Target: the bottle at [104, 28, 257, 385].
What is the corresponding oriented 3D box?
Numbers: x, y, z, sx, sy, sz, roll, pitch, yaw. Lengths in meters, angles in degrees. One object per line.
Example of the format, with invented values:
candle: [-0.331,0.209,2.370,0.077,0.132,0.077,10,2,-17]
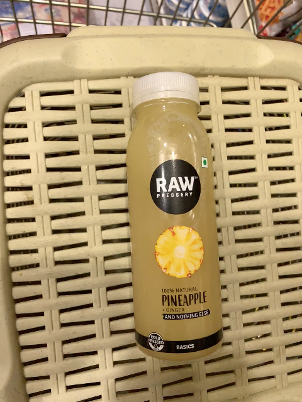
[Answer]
bottle: [0.010,0.000,0.171,0.060,0.050,0.160,-3,86,-11]
